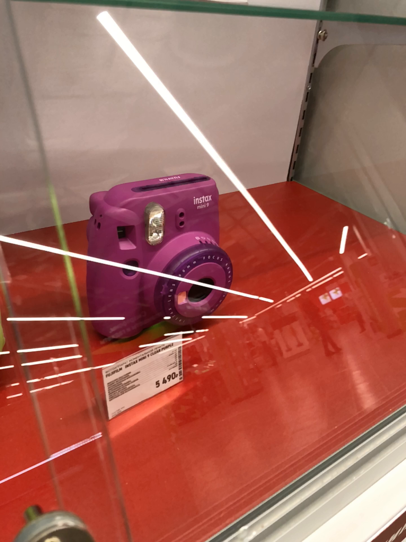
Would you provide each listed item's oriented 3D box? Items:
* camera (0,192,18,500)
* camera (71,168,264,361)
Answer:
[{"bbox_3d":[-0.199,0.033,0.264,0.135,0.118,0.073,-20,39,-36],"label":"camera"},{"bbox_3d":[-0.028,-0.011,0.346,0.117,0.103,0.073,-16,37,-32],"label":"camera"}]
